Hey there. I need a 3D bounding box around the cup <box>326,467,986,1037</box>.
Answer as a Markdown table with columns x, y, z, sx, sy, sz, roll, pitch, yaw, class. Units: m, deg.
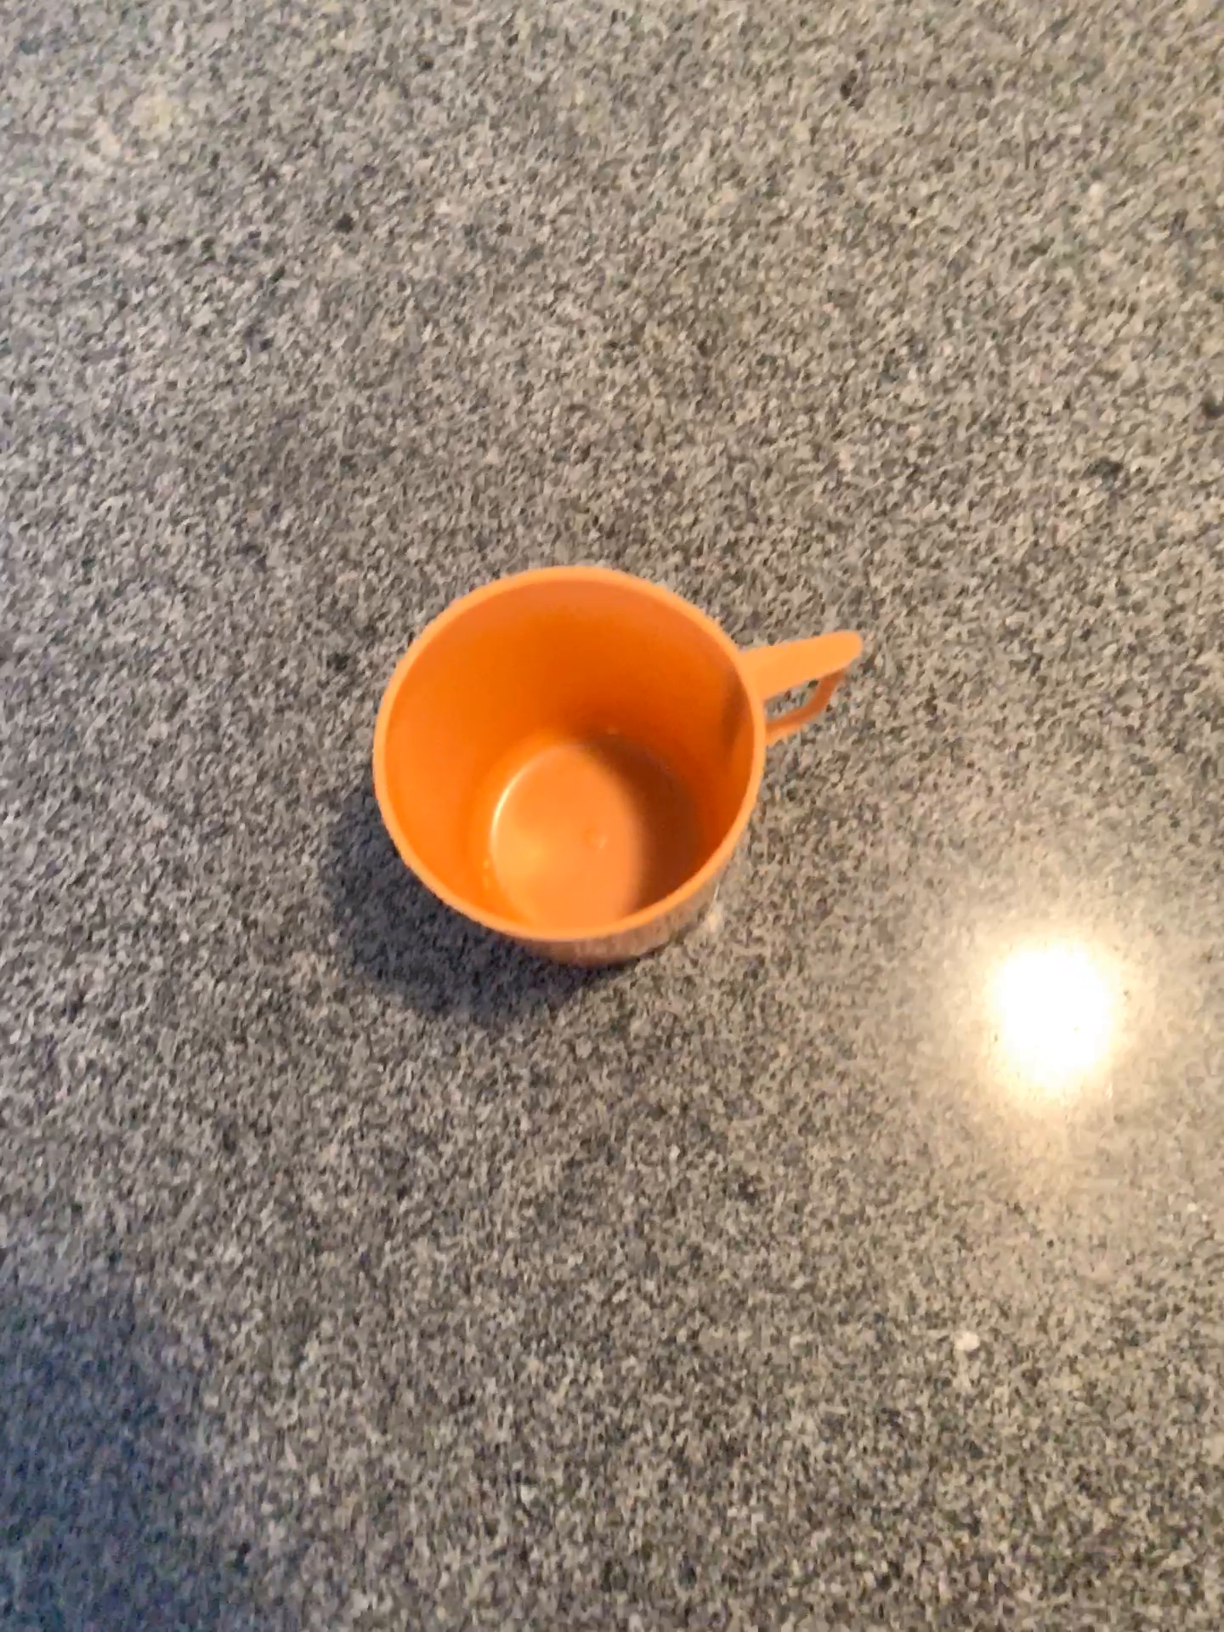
| x | y | z | sx | sy | sz | roll | pitch | yaw | class |
| --- | --- | --- | --- | --- | --- | --- | --- | --- | --- |
| 0.008 | -0.007 | 0.285 | 0.110 | 0.090 | 0.080 | -15 | 74 | -1 | cup |
